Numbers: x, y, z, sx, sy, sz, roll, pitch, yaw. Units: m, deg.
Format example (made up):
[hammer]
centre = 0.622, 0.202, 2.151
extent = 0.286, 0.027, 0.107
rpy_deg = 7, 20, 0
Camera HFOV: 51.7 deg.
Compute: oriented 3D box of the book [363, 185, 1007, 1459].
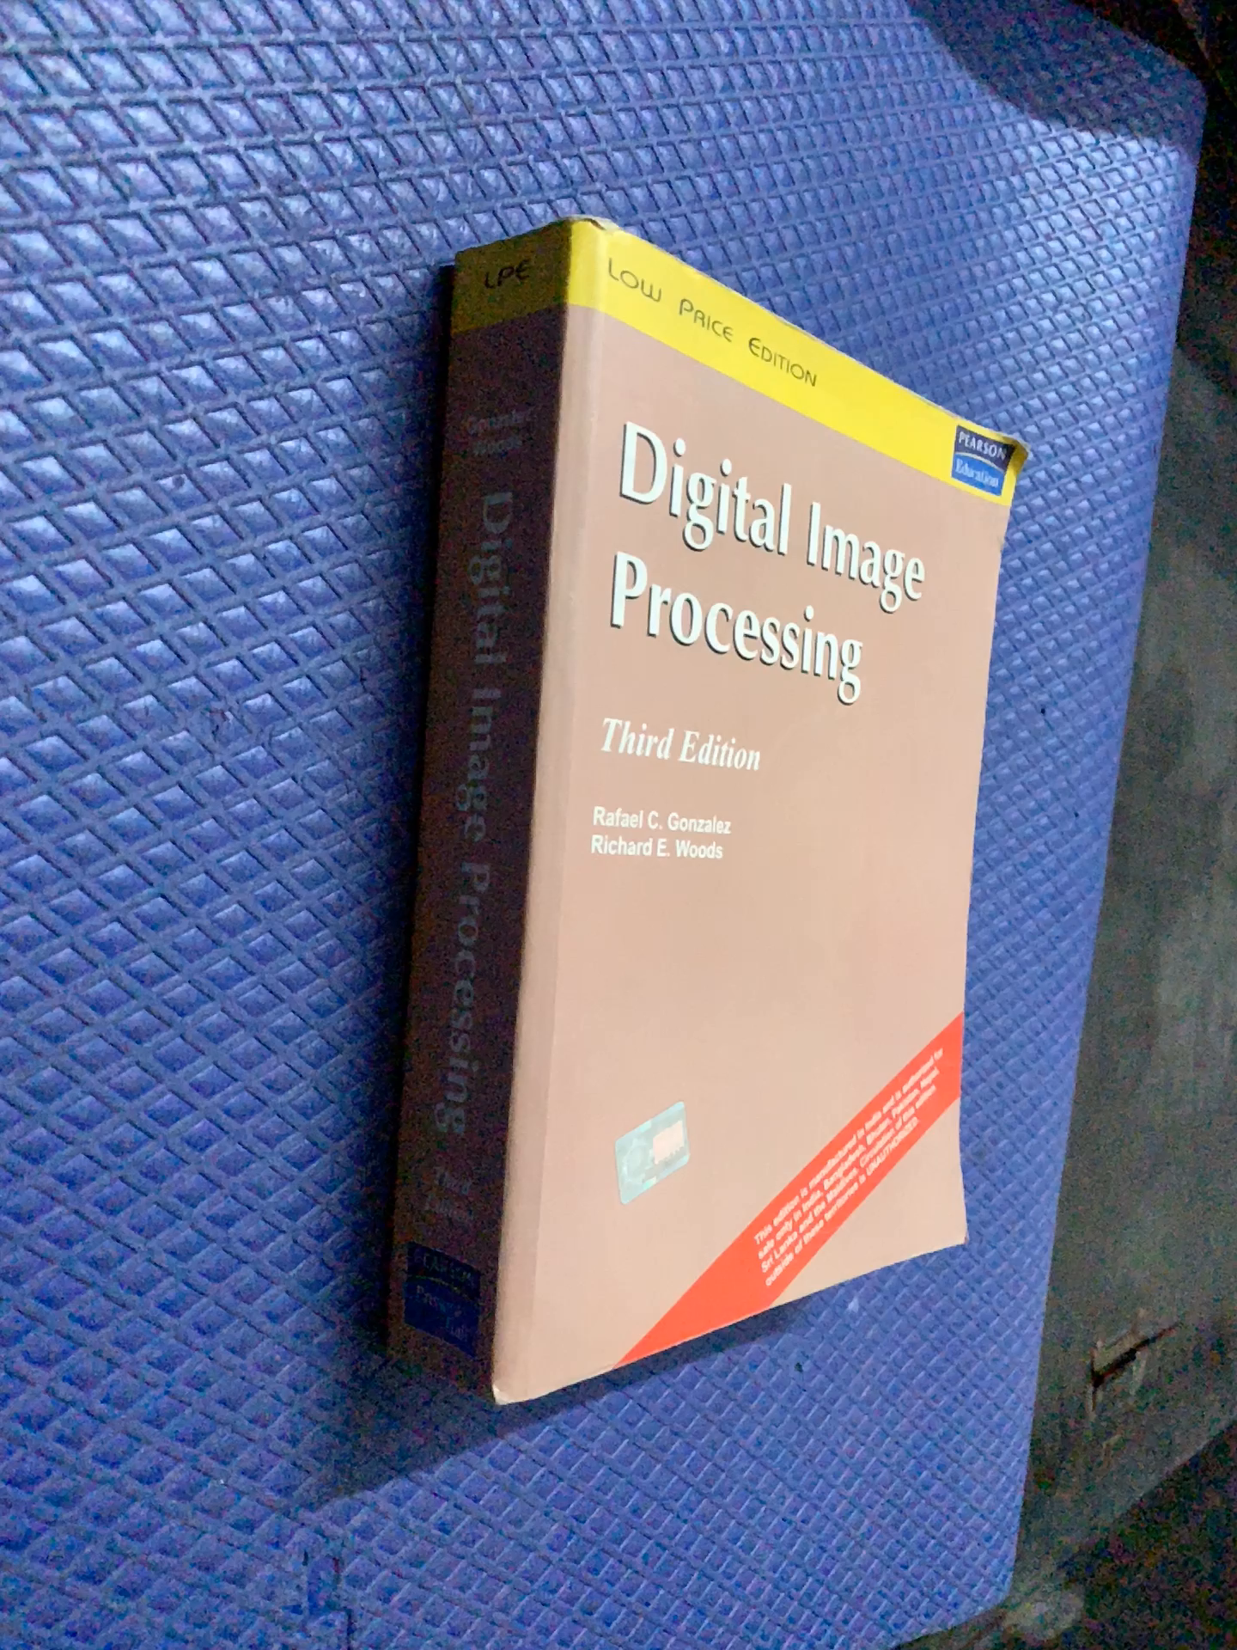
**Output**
[book]
centre = 0.030, 0.002, 0.306
extent = 0.175, 0.045, 0.225
rpy_deg = 4, 88, -49
